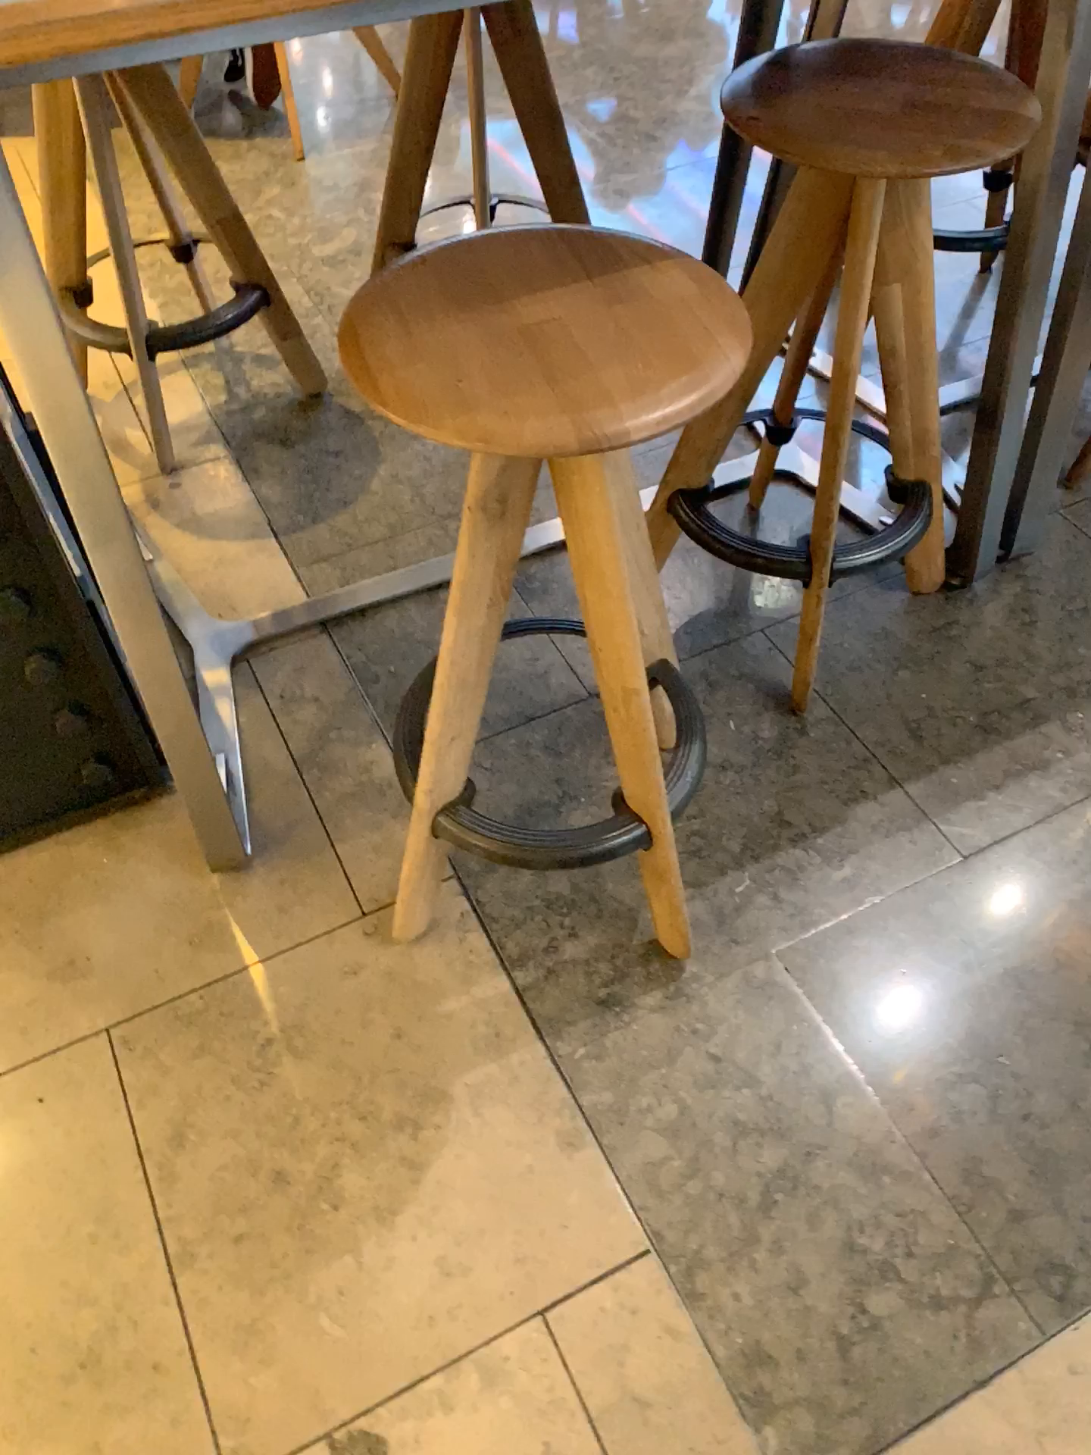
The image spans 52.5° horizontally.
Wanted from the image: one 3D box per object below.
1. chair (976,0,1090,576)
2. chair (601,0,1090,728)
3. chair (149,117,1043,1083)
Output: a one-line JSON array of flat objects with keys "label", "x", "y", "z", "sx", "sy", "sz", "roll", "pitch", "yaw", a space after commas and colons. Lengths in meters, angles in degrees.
[{"label": "chair", "x": 1.062, "y": -0.692, "z": 1.621, "sx": 0.473, "sy": 0.706, "sz": 0.436, "roll": -22, "pitch": 54, "yaw": -16}, {"label": "chair", "x": 0.386, "y": -0.452, "z": 1.442, "sx": 0.463, "sy": 0.706, "sz": 0.426, "roll": -22, "pitch": 54, "yaw": -16}, {"label": "chair", "x": 0.013, "y": -0.119, "z": 1.180, "sx": 0.534, "sy": 0.706, "sz": 0.556, "roll": -22, "pitch": 53, "yaw": -16}]
